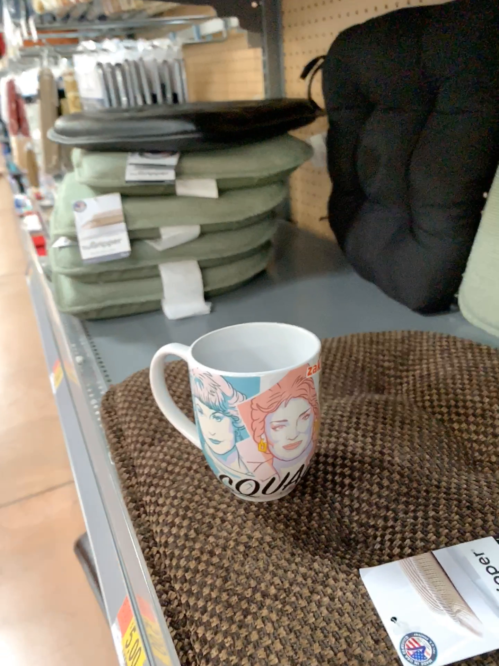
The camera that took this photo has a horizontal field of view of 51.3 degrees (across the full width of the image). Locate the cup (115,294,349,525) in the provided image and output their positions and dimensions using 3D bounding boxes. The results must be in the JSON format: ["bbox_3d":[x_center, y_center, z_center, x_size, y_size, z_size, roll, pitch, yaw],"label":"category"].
[{"bbox_3d":[-0.009,0.044,0.368,0.128,0.100,0.090,14,30,32],"label":"cup"}]
